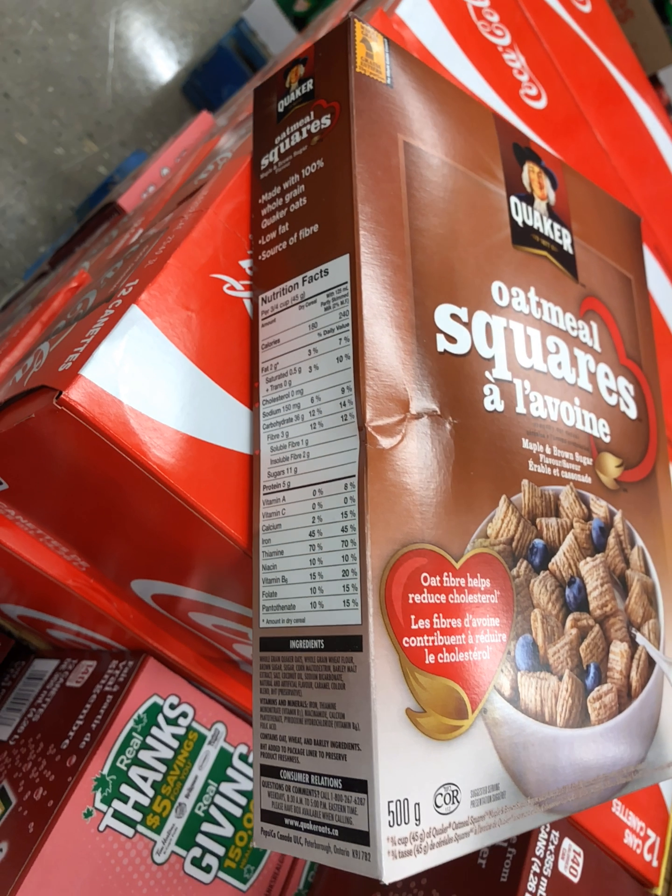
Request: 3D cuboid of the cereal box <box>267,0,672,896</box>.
[{"bbox_3d":[0.084,-0.005,0.296,0.241,0.050,0.290,10,73,-42],"label":"cereal box"}]
